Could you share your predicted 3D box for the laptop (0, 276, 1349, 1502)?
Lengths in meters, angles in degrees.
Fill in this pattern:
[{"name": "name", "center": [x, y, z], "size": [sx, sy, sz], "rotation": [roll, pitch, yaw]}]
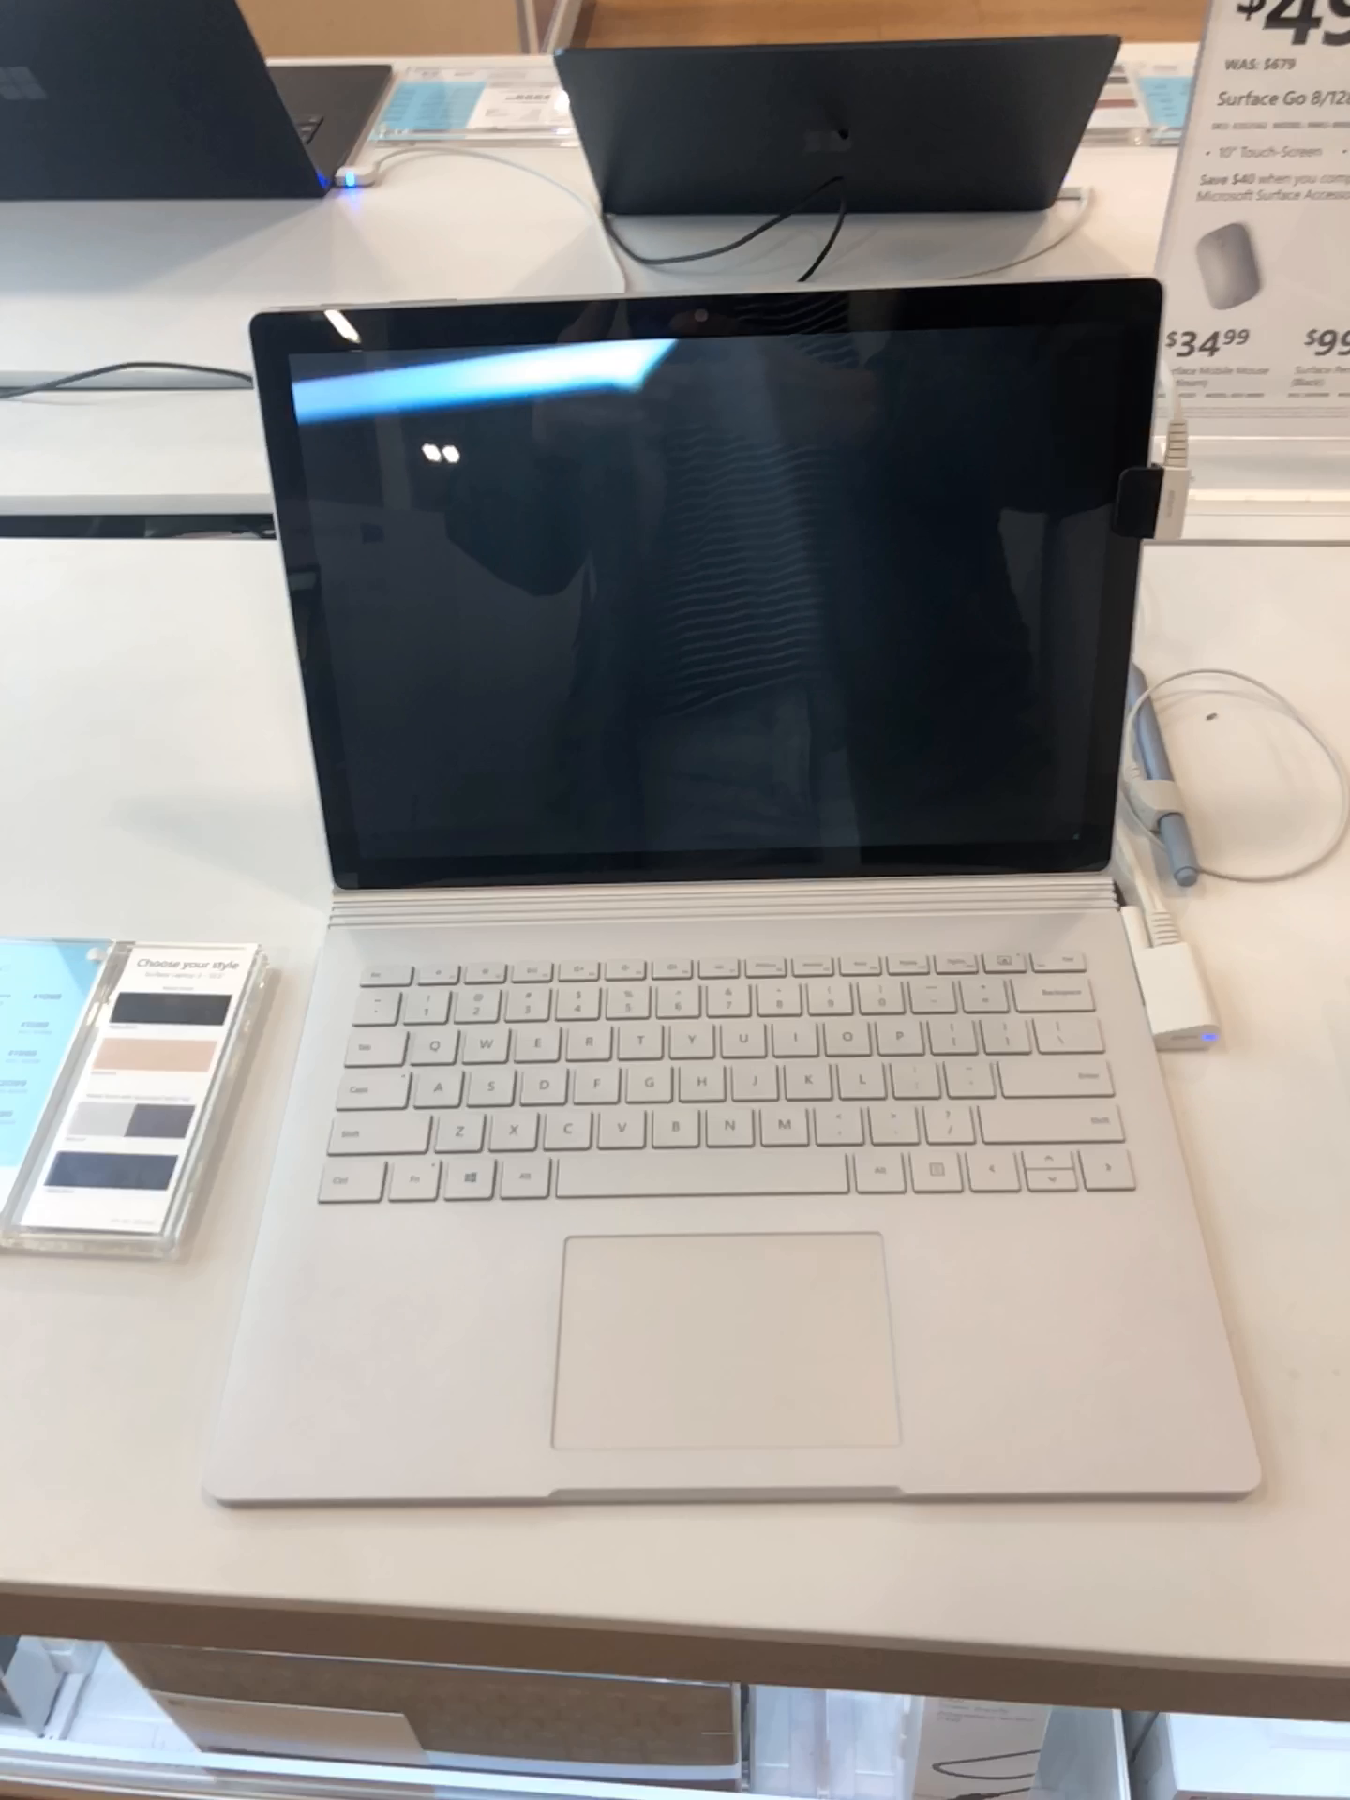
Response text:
[{"name": "laptop", "center": [0.011, -0.016, 0.449], "size": [0.291, 0.191, 0.312], "rotation": [-1, 48, 2]}]
